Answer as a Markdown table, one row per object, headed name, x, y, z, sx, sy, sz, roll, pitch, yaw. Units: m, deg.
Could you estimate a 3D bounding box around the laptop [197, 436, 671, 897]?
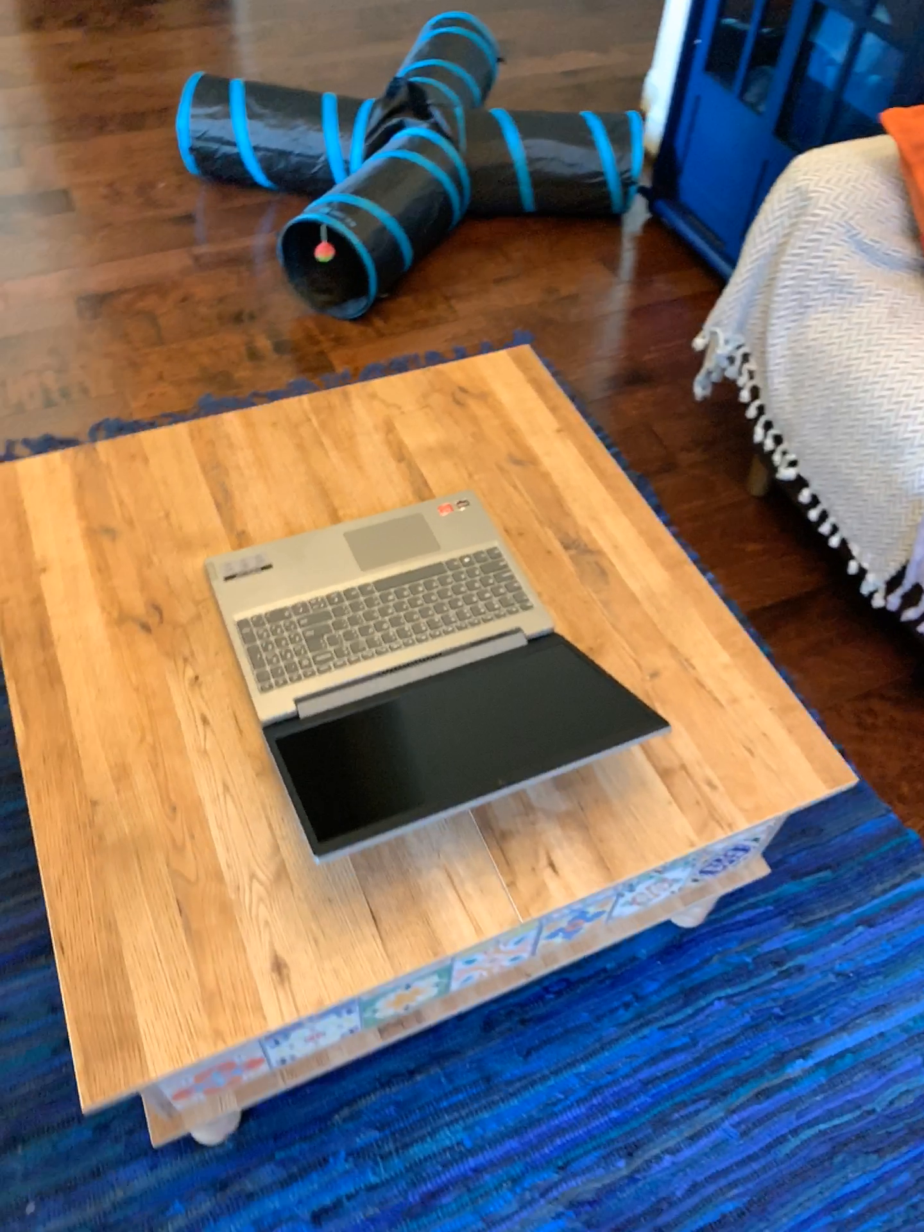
| name | x | y | z | sx | sy | sz | roll | pitch | yaw |
| --- | --- | --- | --- | --- | --- | --- | --- | --- | --- |
| laptop | -0.054 | 0.018 | 1.025 | 0.346 | 0.099 | 0.462 | -17 | 52 | -17 |
